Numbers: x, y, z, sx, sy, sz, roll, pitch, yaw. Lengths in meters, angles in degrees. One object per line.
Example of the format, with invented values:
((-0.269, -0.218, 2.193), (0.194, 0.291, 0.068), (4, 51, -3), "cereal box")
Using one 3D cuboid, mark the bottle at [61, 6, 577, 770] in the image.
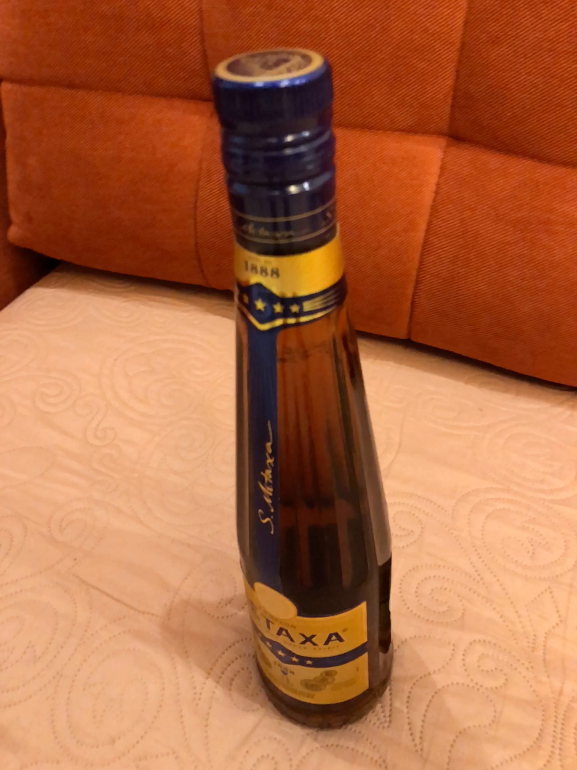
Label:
((0.015, 0.038, 0.257), (0.100, 0.308, 0.090), (29, 50, 28), "bottle")
